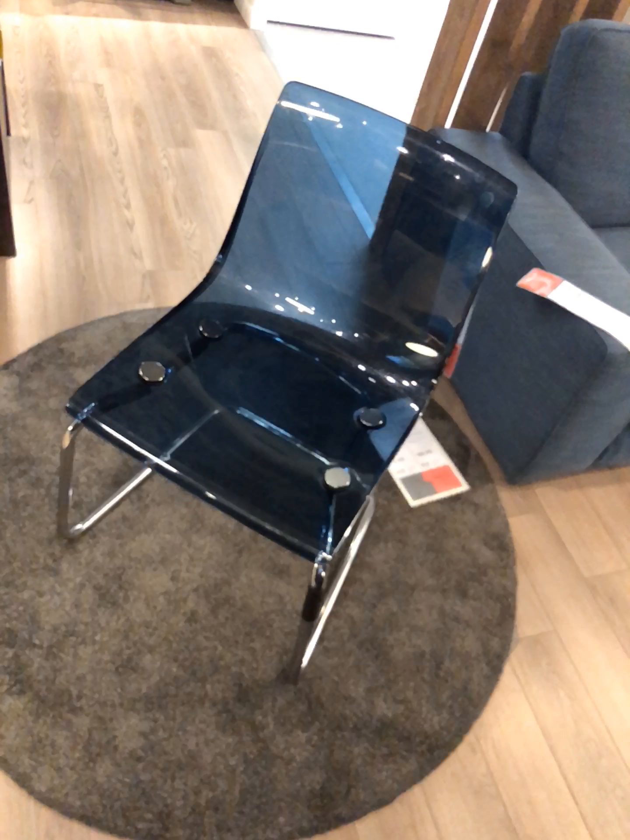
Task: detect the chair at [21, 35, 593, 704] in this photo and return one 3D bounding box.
[{"bbox_3d":[-0.056,-0.043,1.213,0.580,0.867,0.502,29,47,10],"label":"chair"}]
